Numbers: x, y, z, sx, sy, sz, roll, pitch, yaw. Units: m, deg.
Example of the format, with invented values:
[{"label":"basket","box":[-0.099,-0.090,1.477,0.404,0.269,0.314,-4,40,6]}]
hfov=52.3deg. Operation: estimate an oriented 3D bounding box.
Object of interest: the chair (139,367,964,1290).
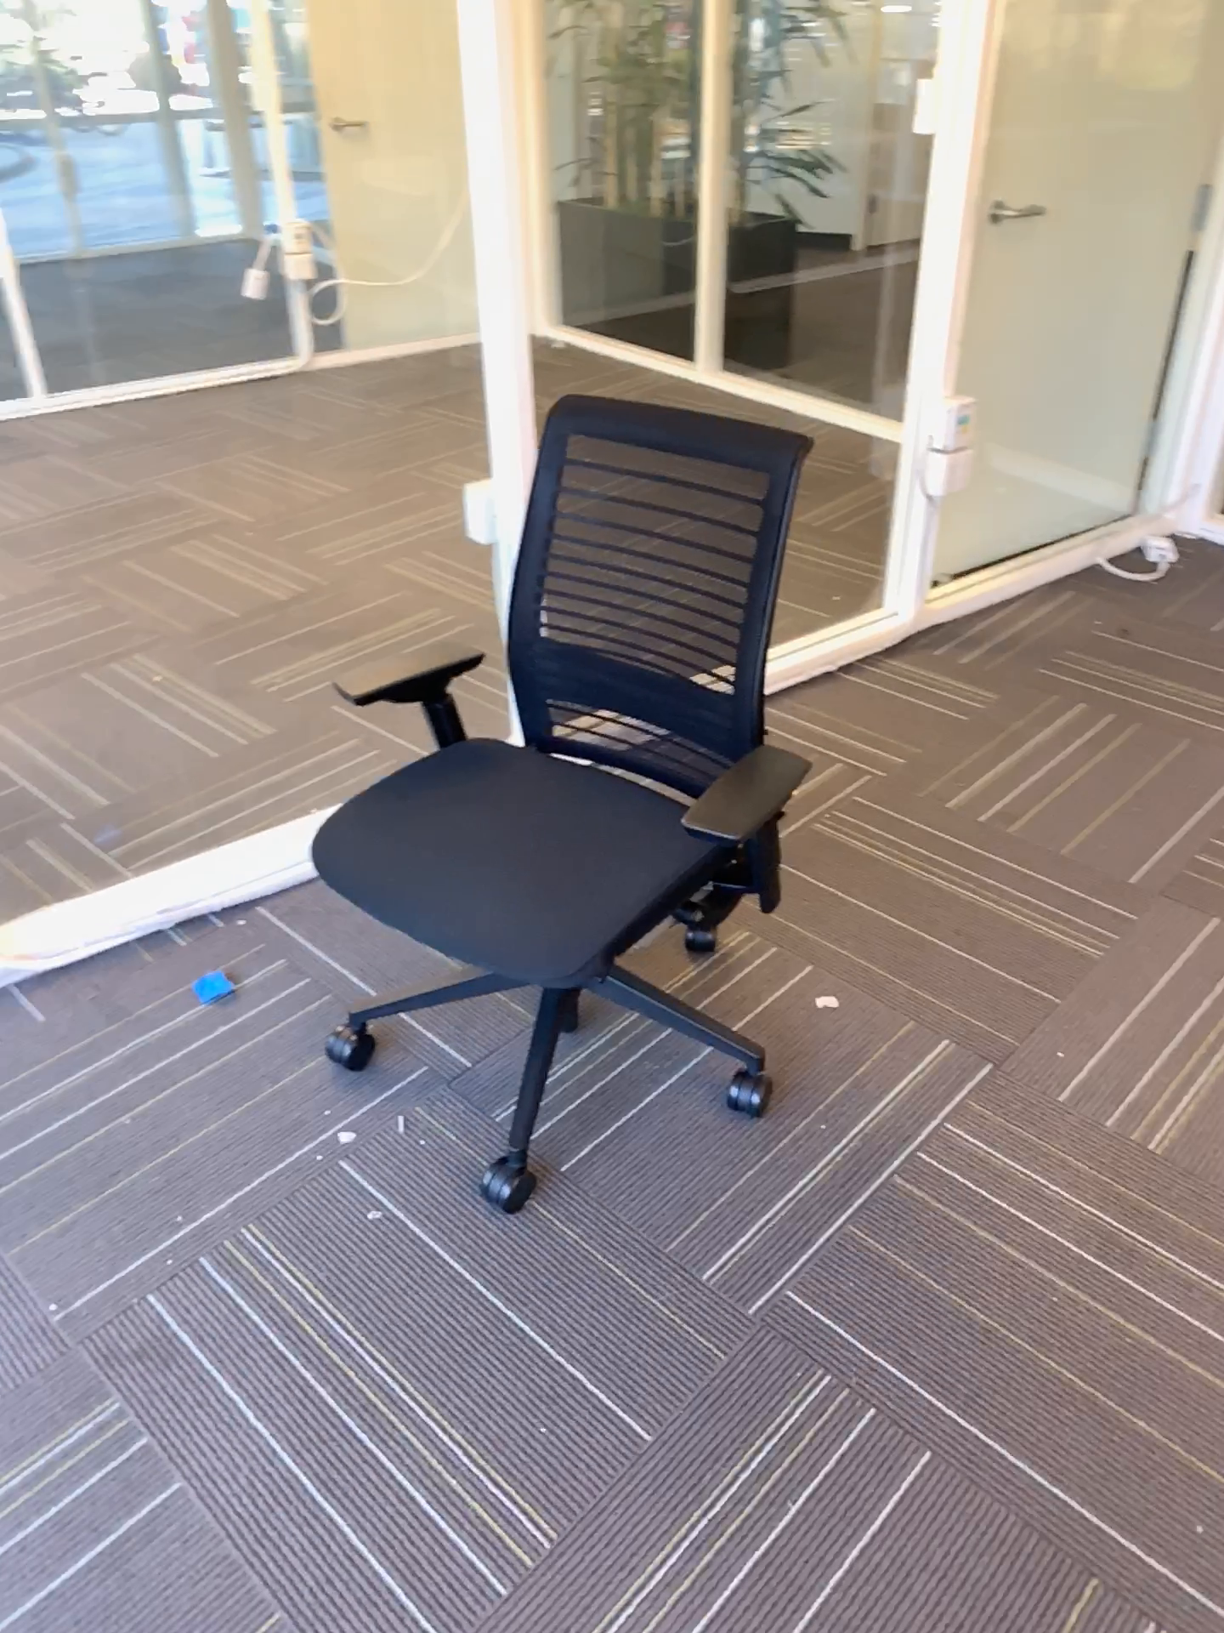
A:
[{"label":"chair","box":[-0.054,-0.050,1.729,0.693,0.875,0.712,24,40,33]}]
